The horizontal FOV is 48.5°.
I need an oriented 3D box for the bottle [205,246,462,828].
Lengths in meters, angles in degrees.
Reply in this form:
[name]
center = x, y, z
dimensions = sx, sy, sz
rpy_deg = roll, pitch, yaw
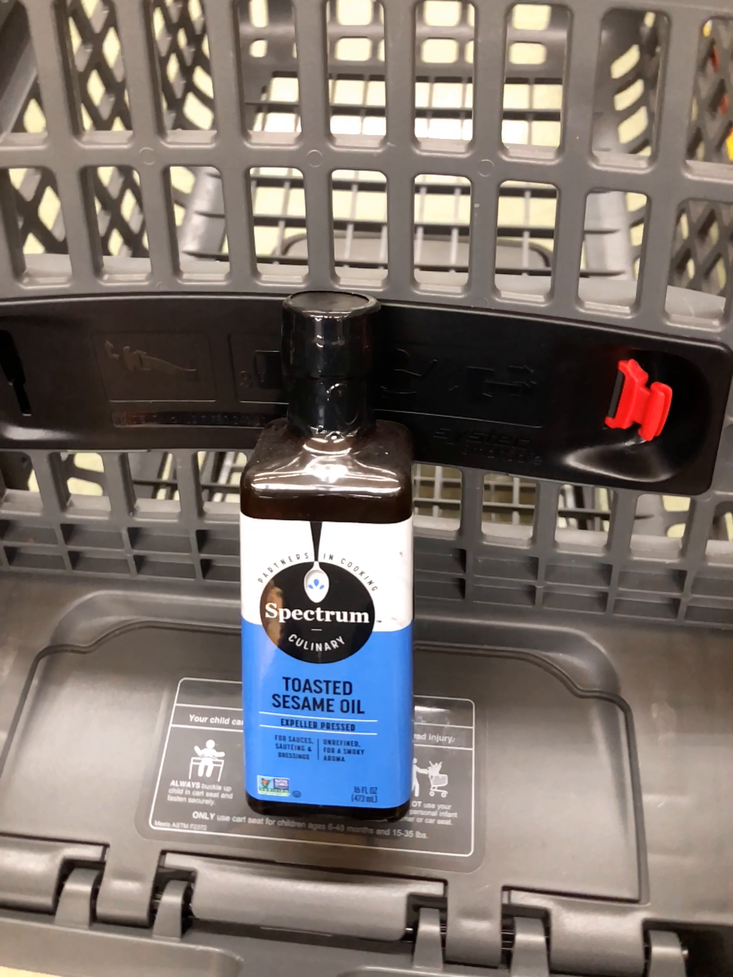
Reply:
[bottle]
center = -0.008, 0.022, 0.290
dimensions = 0.070, 0.200, 0.060
rpy_deg = 2, 25, 4
